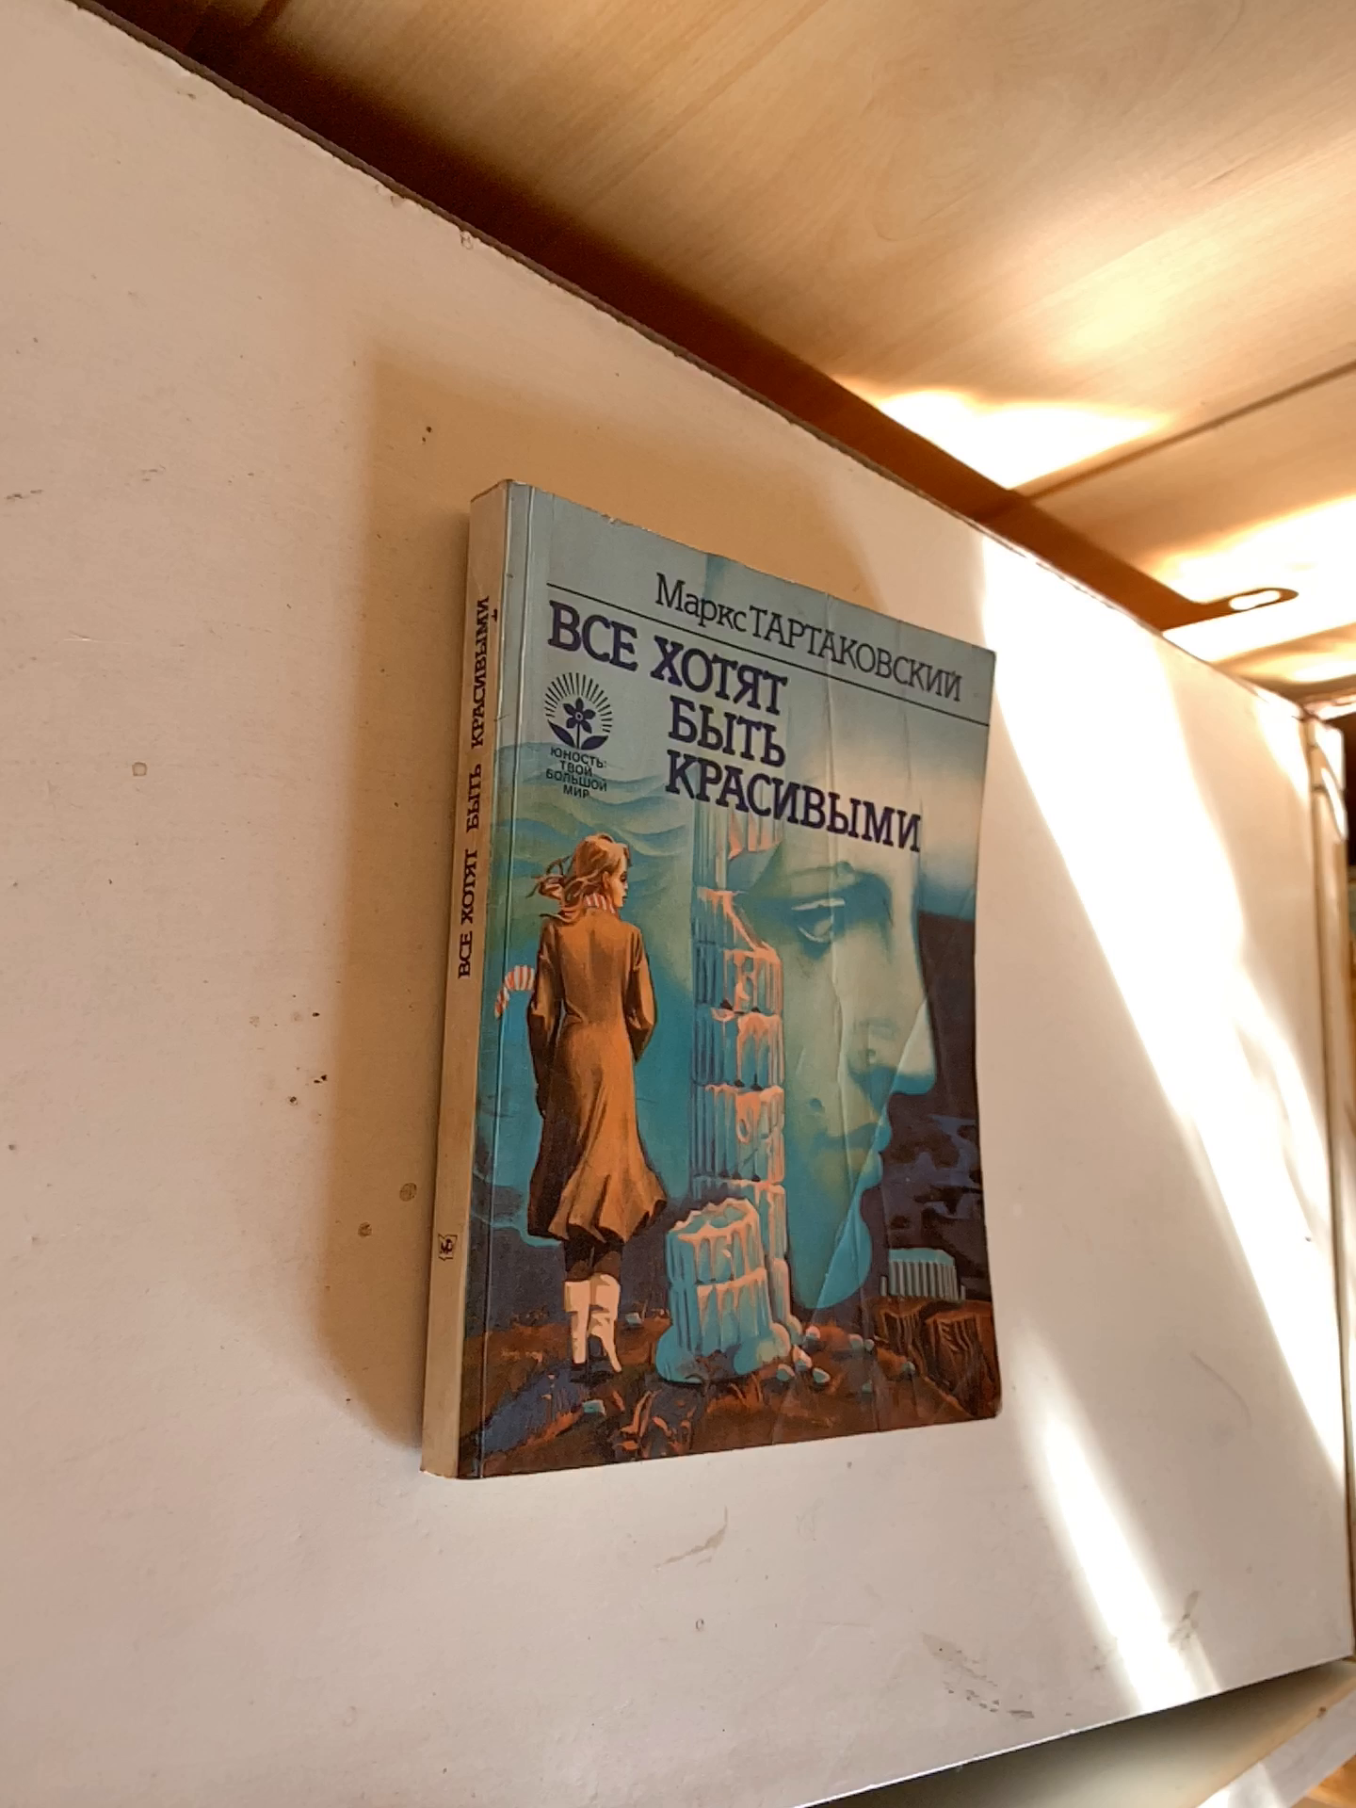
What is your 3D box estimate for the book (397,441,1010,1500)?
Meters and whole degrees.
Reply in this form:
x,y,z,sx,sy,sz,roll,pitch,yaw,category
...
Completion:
x,y,z,sx,sy,sz,roll,pitch,yaw,category
0.013,0.013,0.252,0.121,0.013,0.160,9,78,-36,book
